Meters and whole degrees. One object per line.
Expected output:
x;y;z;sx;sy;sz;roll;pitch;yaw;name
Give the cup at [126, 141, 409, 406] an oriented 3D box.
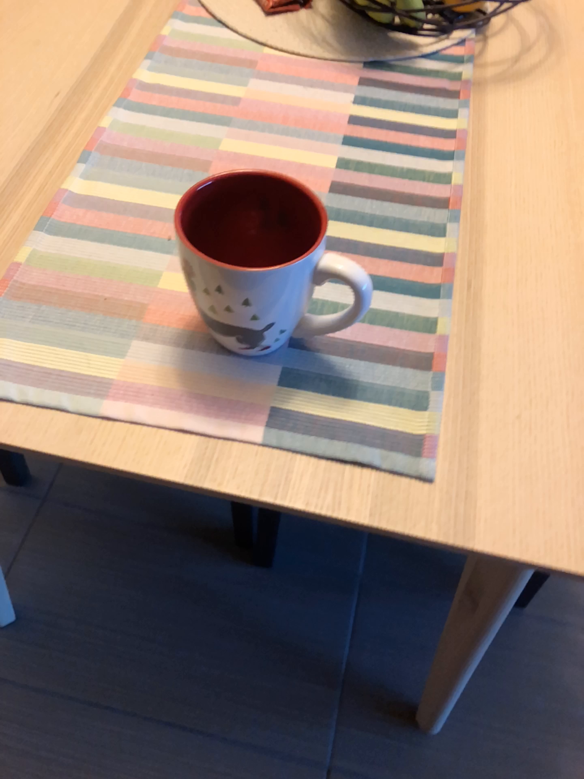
-0.014;-0.077;0.426;0.140;0.090;0.100;22;56;12;cup
